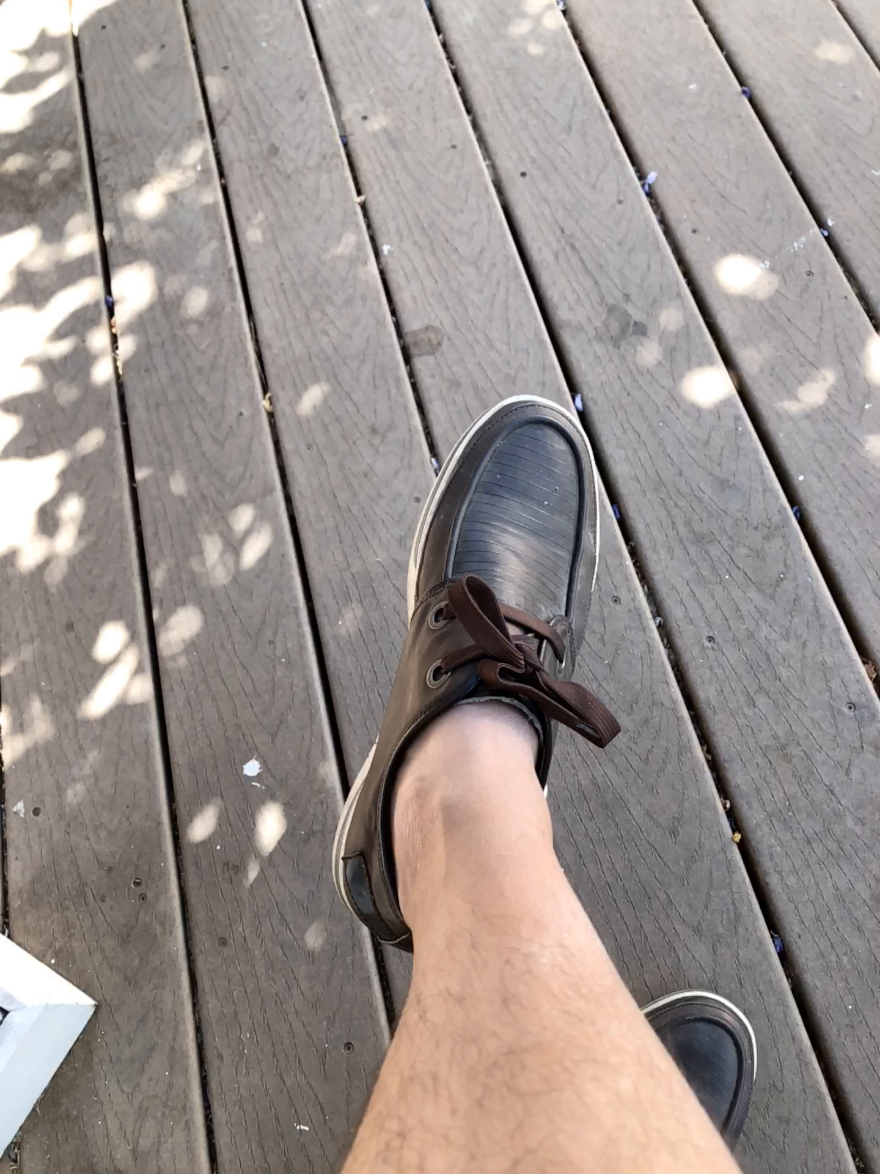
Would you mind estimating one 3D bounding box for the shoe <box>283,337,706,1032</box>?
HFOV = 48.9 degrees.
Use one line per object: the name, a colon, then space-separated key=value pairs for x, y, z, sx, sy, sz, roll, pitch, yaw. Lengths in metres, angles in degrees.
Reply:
shoe: x=0.024 y=0.045 z=0.494 sx=0.118 sy=0.104 sz=0.295 roll=18 pitch=80 yaw=-7
